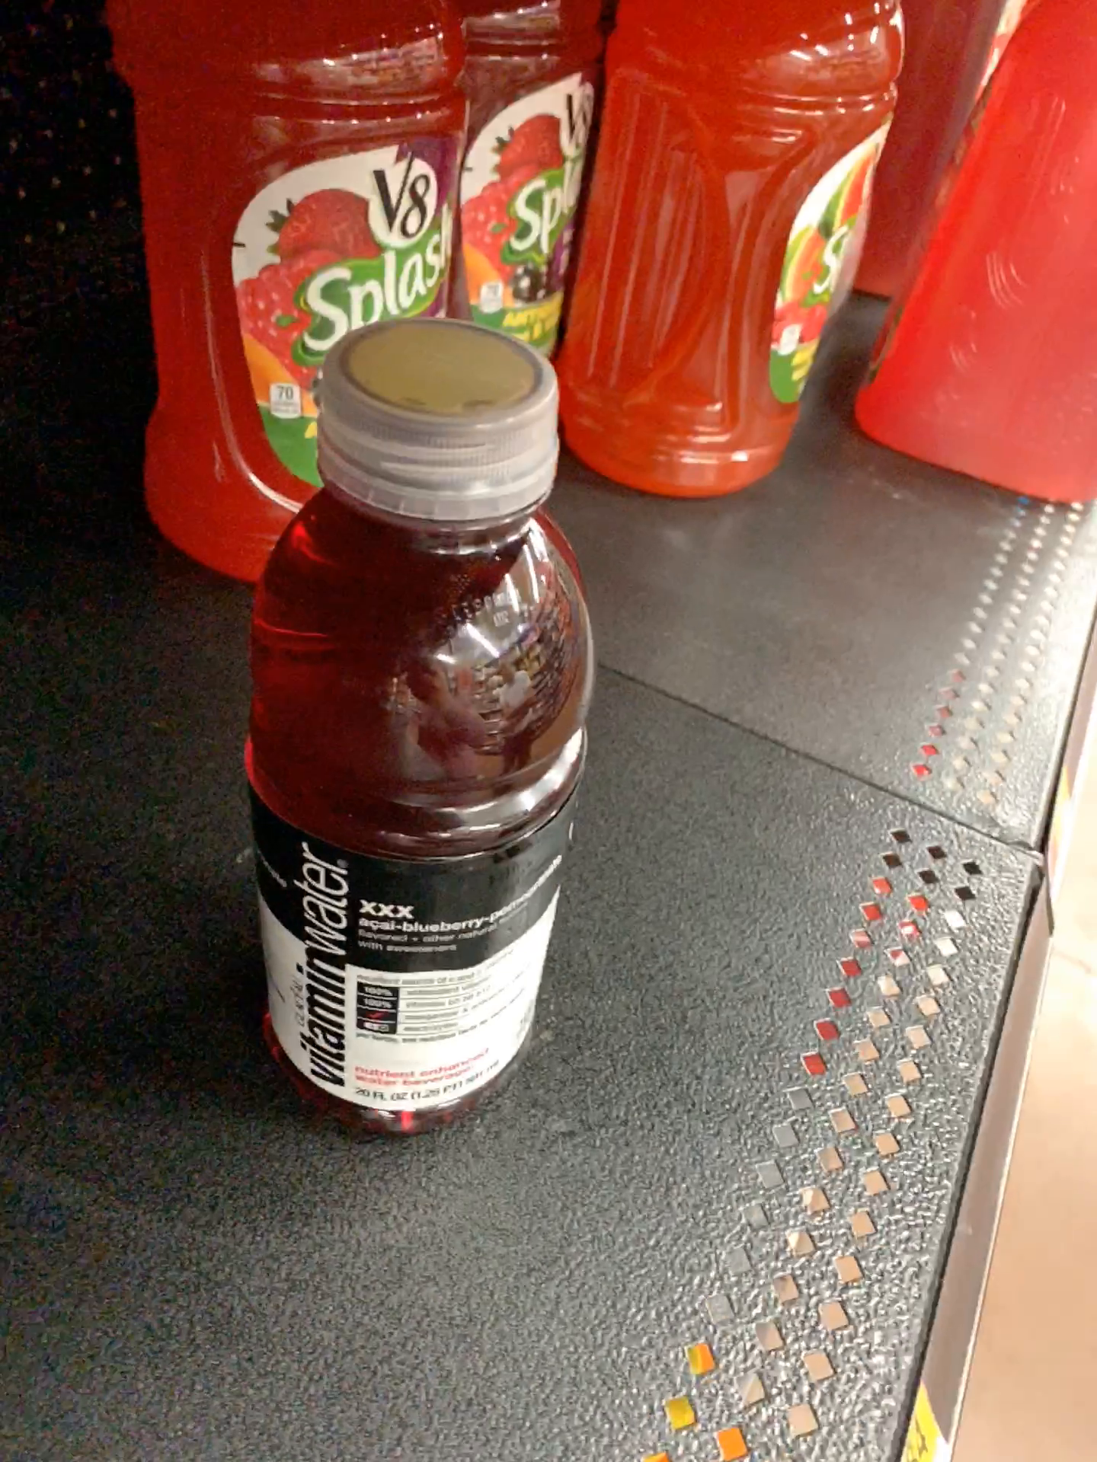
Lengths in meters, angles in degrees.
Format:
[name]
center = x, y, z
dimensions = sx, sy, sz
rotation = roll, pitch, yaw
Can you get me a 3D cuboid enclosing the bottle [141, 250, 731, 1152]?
[bottle]
center = -0.027, 0.008, 0.245
dimensions = 0.080, 0.179, 0.080
rotation = 6, 44, -6
